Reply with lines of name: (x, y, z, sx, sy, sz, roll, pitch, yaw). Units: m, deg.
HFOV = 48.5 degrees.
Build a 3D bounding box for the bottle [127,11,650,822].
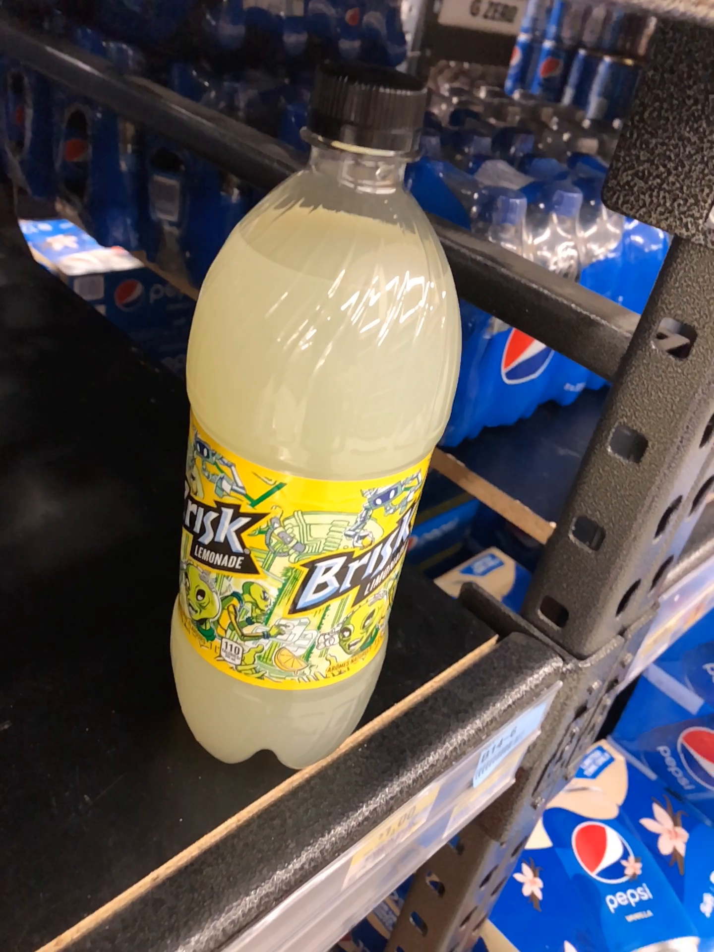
bottle: (-0.009, -0.010, 0.262, 0.090, 0.228, 0.090, 9, 34, -6)
